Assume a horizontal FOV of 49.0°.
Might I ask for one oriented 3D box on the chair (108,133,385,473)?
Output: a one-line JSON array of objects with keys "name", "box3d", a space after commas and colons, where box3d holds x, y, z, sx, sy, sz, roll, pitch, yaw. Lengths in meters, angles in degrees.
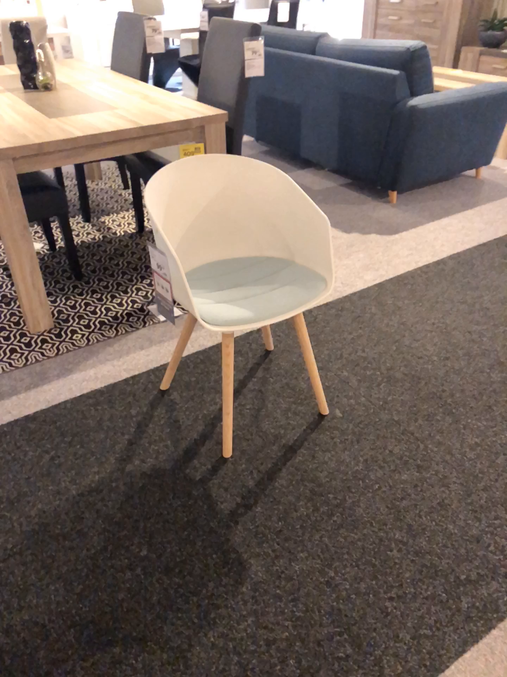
[{"name": "chair", "box3d": [-0.038, -0.145, 1.741, 0.552, 0.765, 0.581, -18, 37, -23]}]
